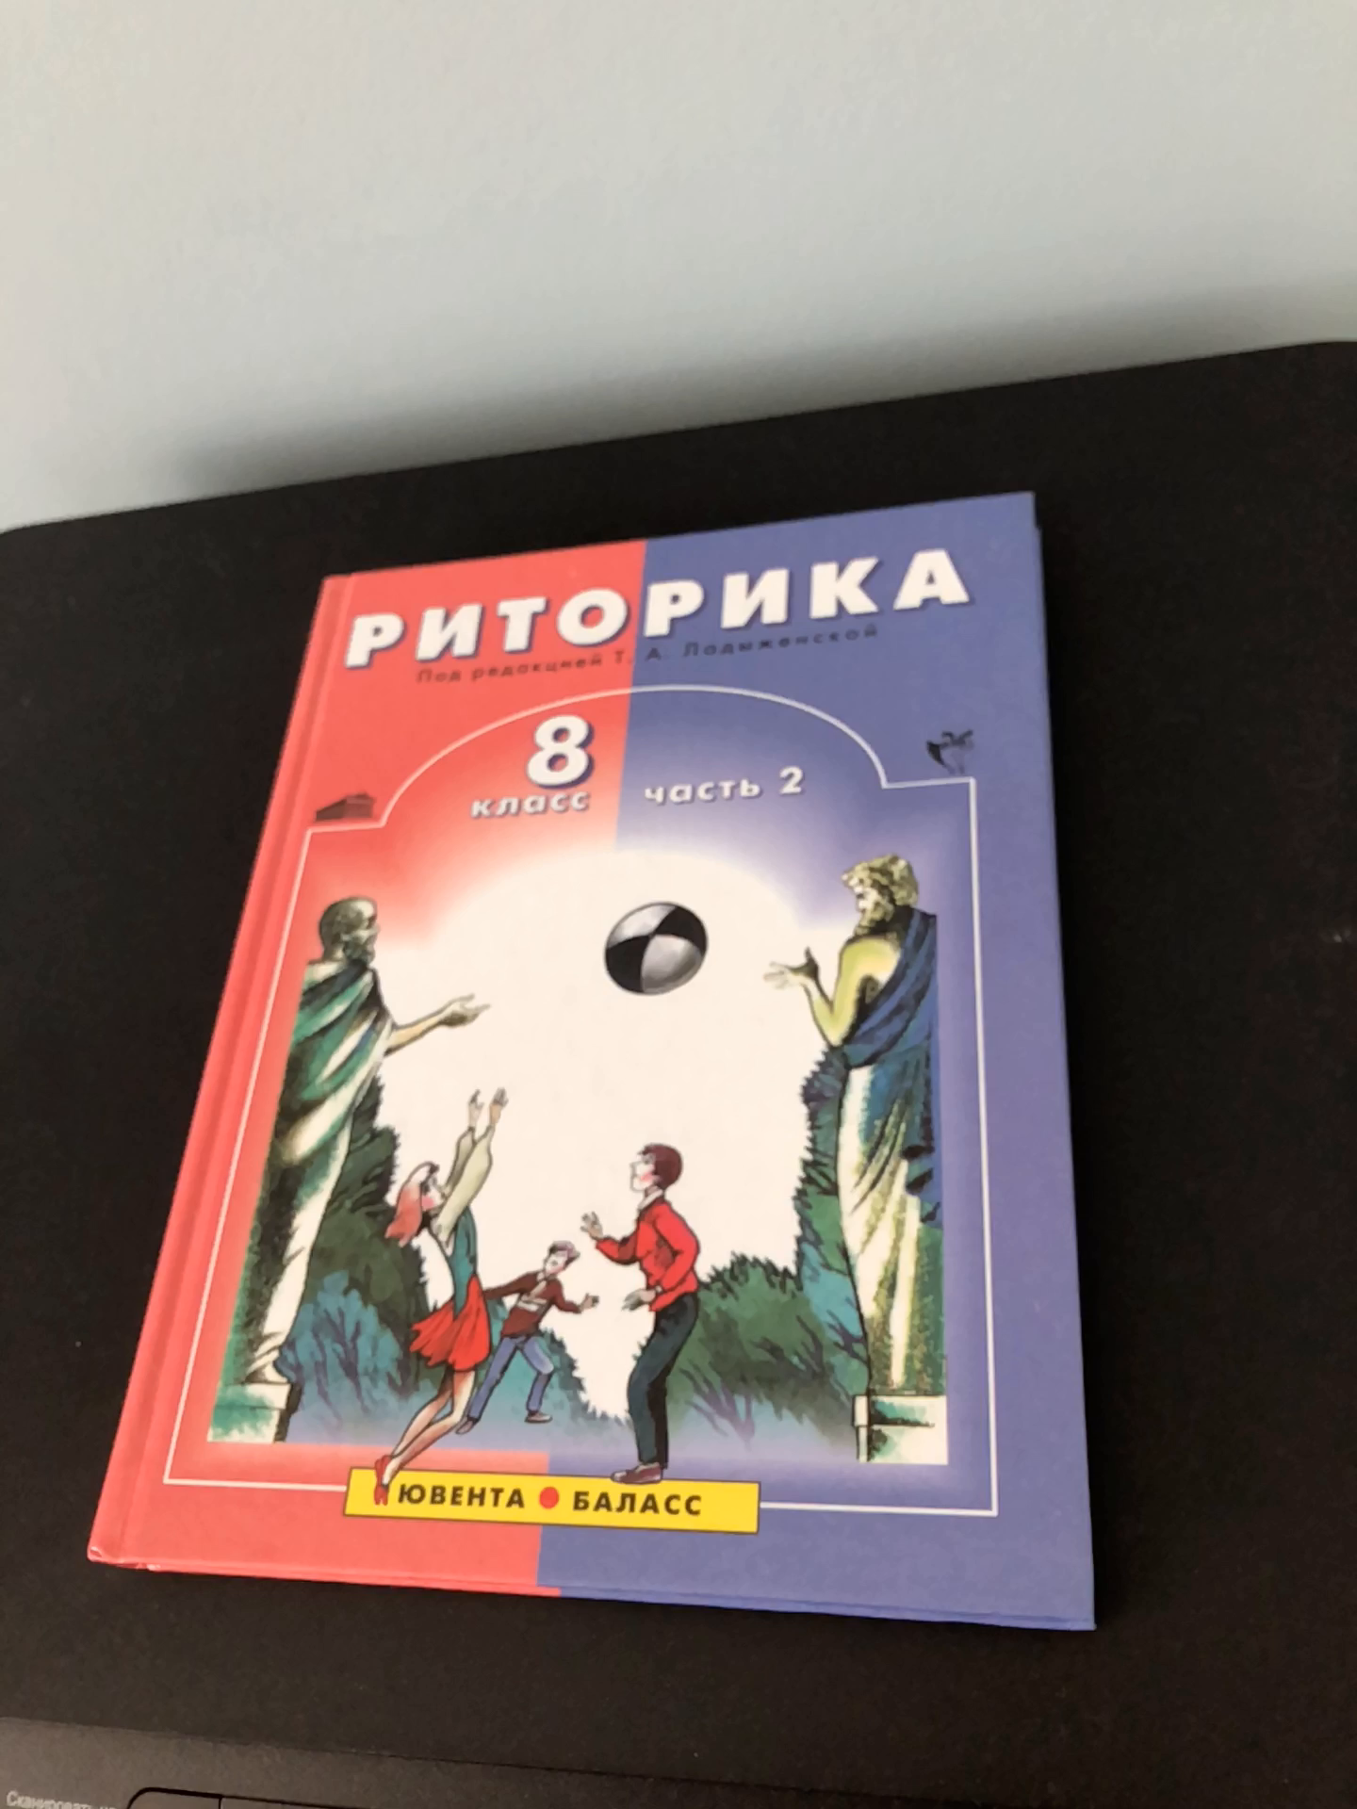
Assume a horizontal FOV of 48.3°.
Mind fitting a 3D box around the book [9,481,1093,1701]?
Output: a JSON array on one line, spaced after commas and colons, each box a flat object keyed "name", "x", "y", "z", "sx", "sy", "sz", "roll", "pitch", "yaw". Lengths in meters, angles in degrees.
[{"name": "book", "x": -0.016, "y": 0.019, "z": 0.286, "sx": 0.170, "sy": 0.020, "sz": 0.221, "roll": -3, "pitch": 60, "yaw": 15}]
